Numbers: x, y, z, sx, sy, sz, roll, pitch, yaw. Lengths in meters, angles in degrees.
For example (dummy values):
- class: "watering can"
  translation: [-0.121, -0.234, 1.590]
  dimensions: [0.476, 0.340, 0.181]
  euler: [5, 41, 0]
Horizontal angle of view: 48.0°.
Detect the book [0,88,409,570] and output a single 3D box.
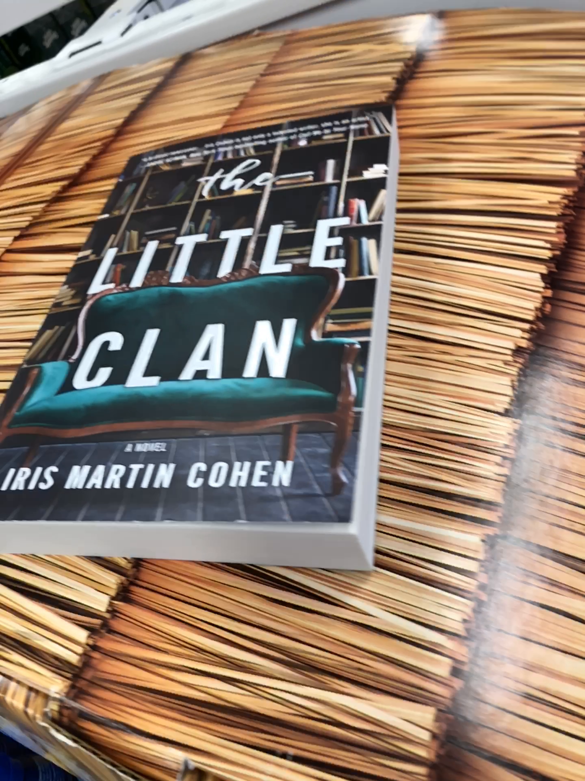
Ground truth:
- class: "book"
  translation: [-0.032, -0.034, 0.234]
  dimensions: [0.130, 0.030, 0.190]
  euler: [-3, 49, 19]
